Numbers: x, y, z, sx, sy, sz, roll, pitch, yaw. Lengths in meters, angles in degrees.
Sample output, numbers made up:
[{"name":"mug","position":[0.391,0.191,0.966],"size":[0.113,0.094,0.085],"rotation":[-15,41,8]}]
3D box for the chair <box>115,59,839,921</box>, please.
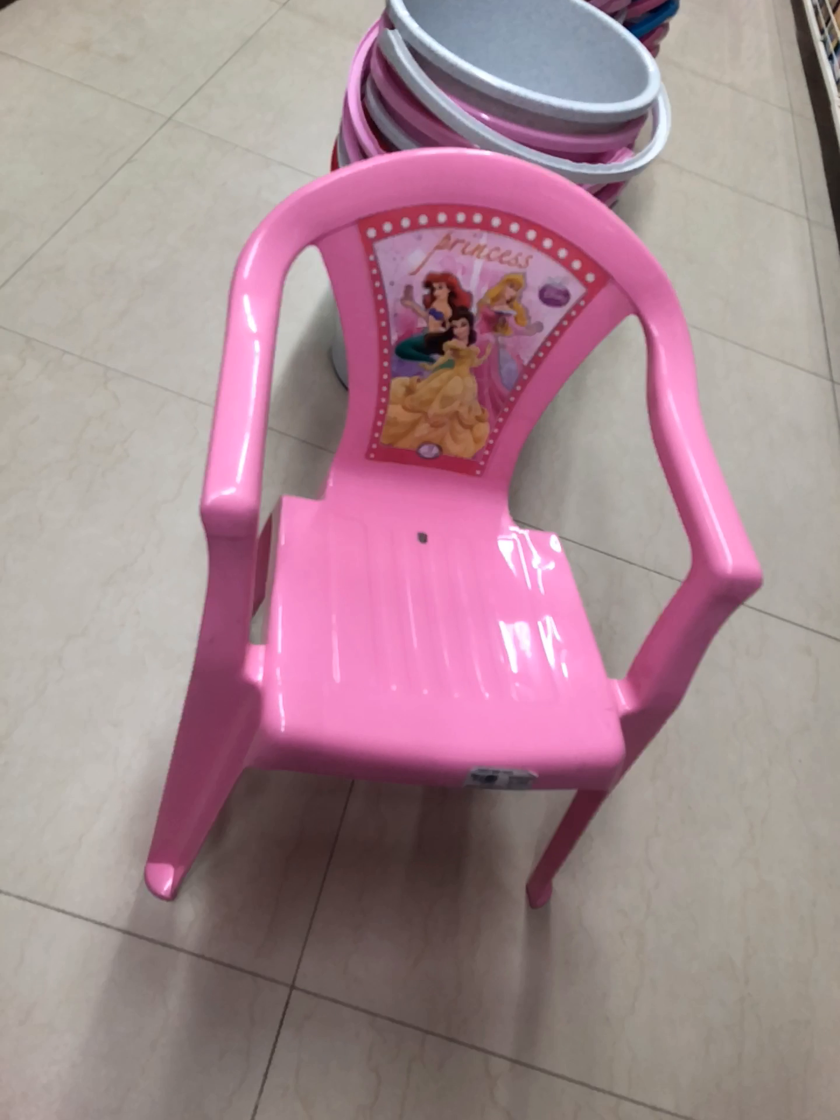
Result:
[{"name":"chair","position":[0.000,0.003,0.660],"size":[0.370,0.477,0.352],"rotation":[6,50,-15]}]
